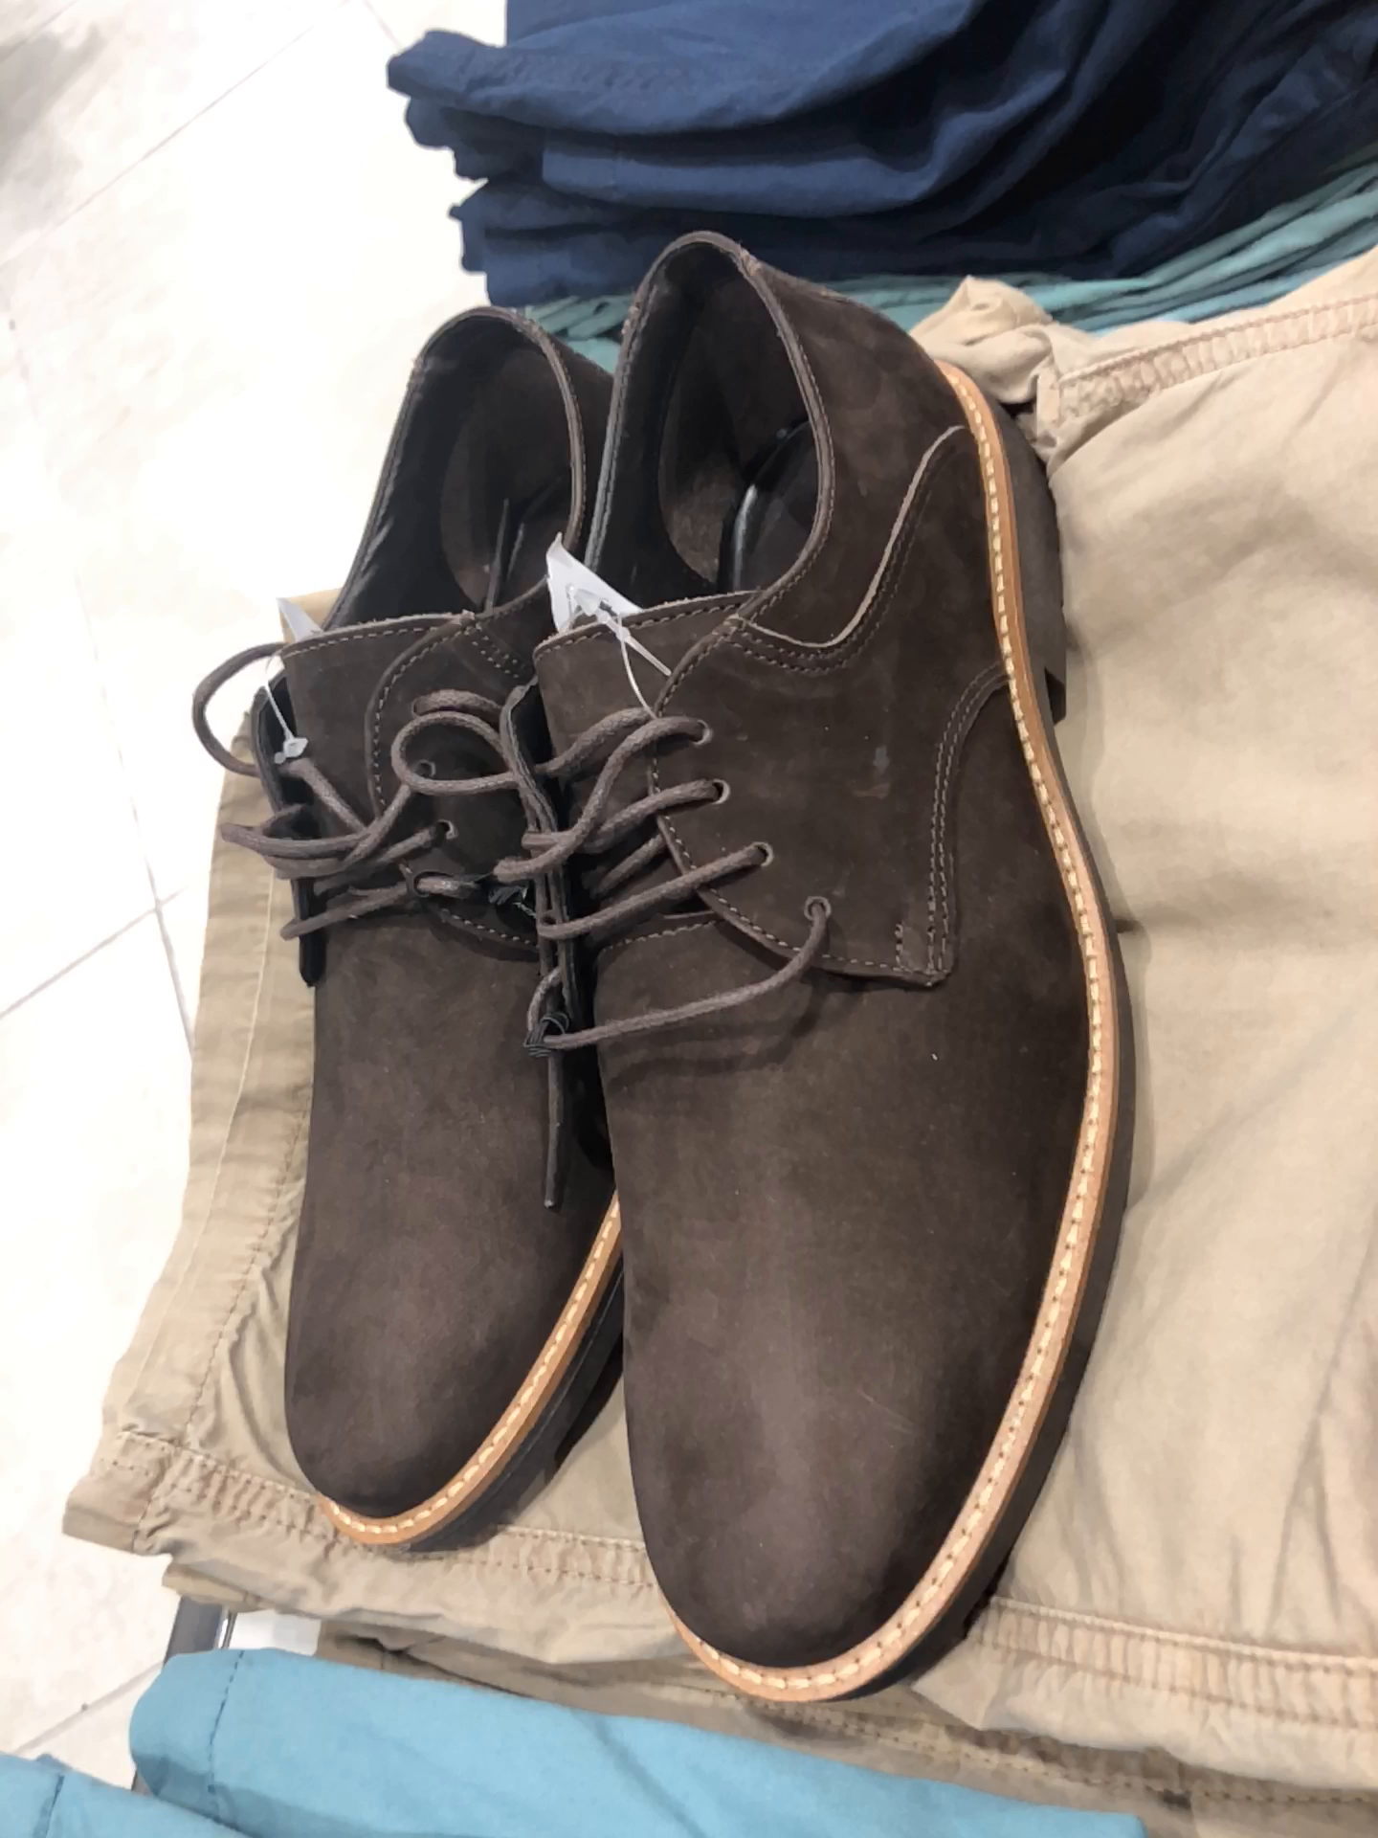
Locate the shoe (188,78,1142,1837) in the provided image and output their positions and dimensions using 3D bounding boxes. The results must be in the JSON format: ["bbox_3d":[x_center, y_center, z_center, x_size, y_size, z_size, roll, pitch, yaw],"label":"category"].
[{"bbox_3d":[0.010,0.006,0.280,0.100,0.109,0.261,-11,64,38],"label":"shoe"}]

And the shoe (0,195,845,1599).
[{"bbox_3d":[-0.056,-0.002,0.346,0.110,0.109,0.260,-1,73,36],"label":"shoe"}]
